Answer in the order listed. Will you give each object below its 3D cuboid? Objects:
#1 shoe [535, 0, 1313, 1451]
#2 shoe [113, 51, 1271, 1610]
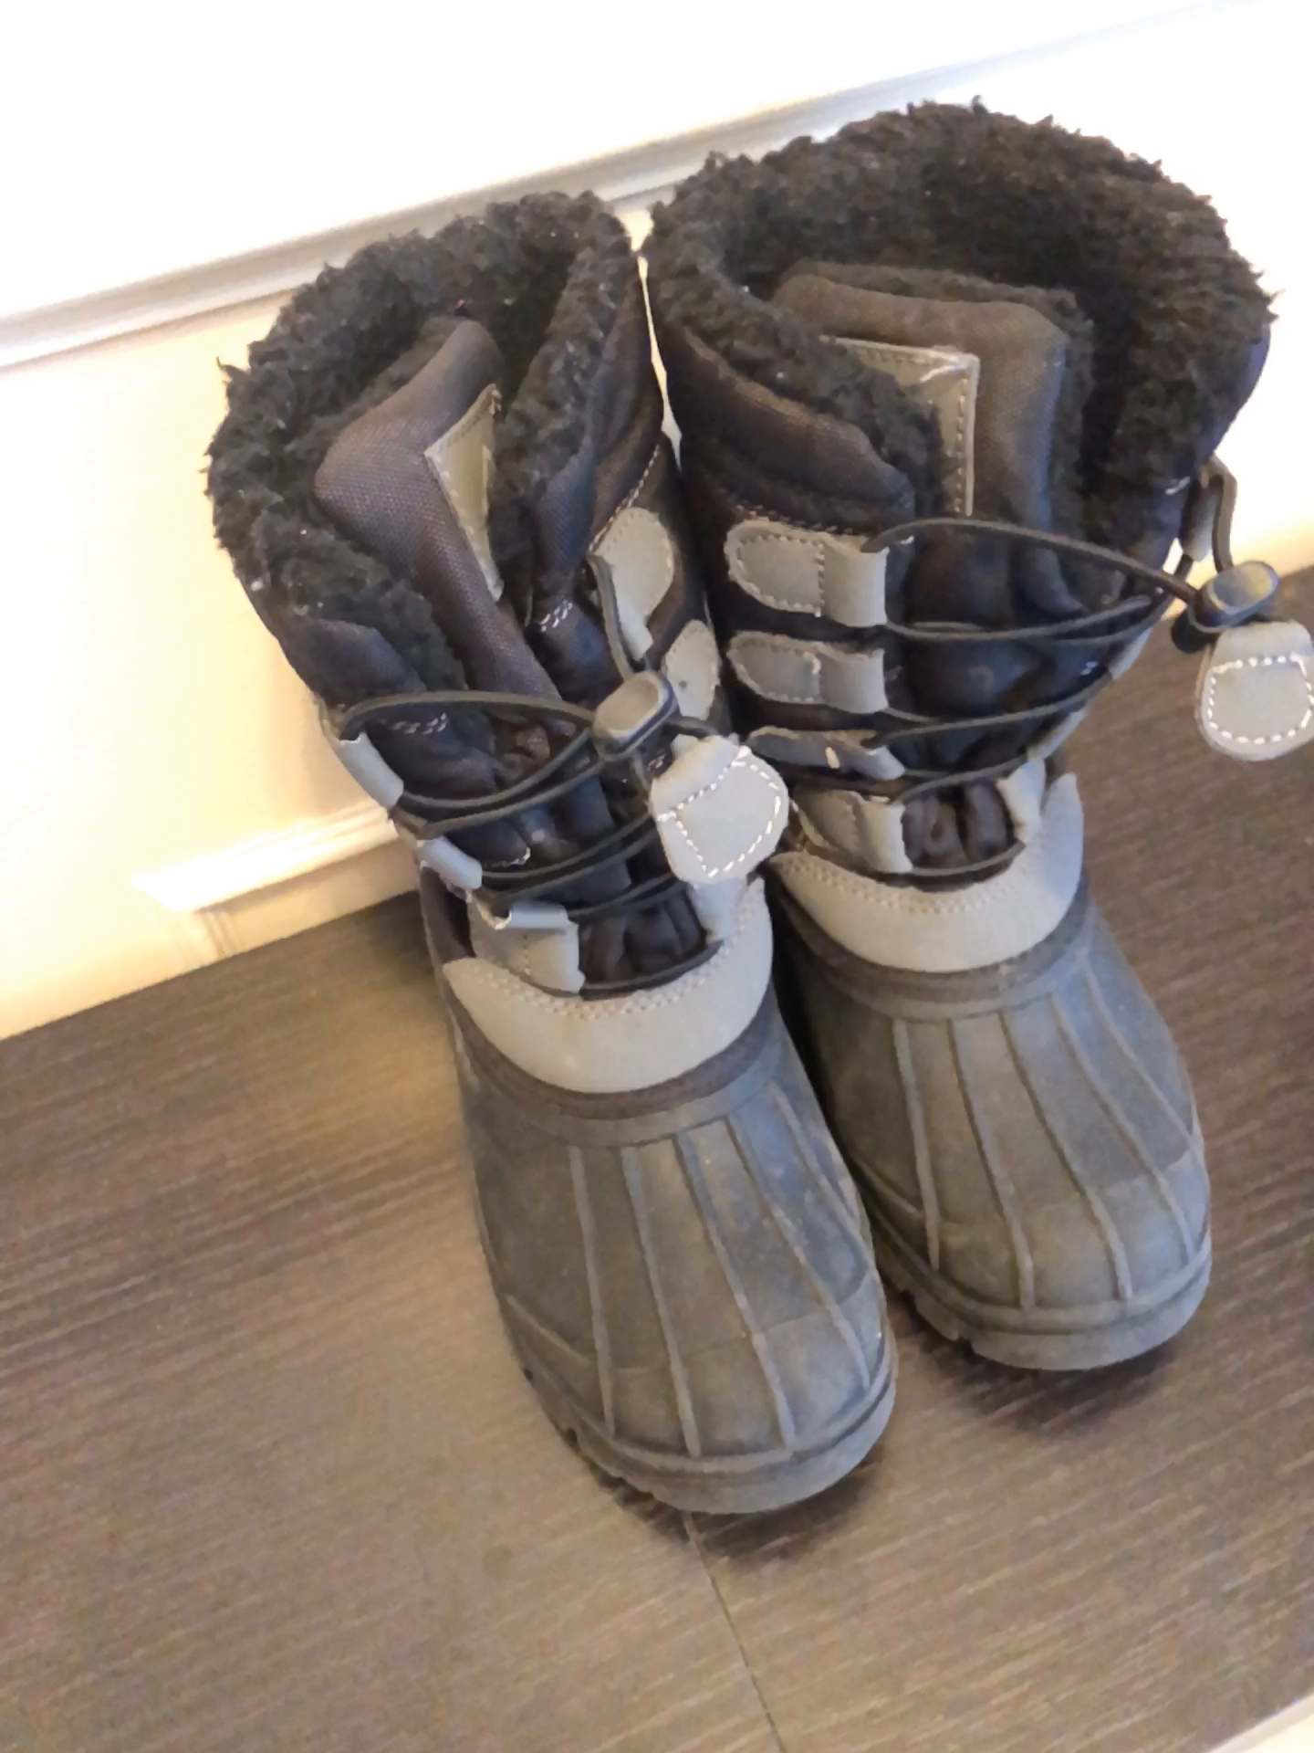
[{"bbox_3d":[0.068,-0.034,0.316,0.100,0.209,0.221,-19,52,-10],"label":"shoe"},{"bbox_3d":[-0.011,-0.007,0.299,0.100,0.209,0.221,-19,52,-10],"label":"shoe"}]
